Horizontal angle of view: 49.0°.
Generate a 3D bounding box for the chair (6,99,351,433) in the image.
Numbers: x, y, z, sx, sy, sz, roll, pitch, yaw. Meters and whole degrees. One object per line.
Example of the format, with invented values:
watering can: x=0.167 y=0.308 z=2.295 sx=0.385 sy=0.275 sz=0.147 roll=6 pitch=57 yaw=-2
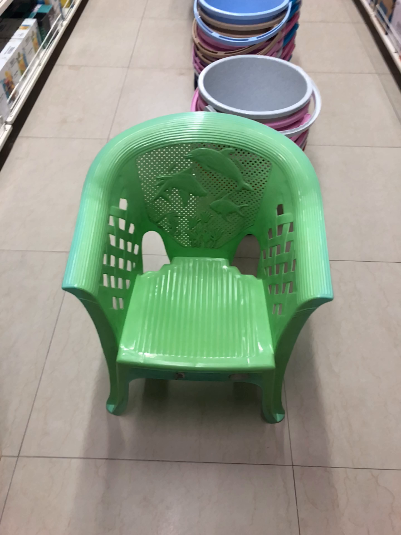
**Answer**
chair: x=-0.015 y=-0.006 z=0.851 sx=0.430 sy=0.398 sz=0.473 roll=4 pitch=50 yaw=2
